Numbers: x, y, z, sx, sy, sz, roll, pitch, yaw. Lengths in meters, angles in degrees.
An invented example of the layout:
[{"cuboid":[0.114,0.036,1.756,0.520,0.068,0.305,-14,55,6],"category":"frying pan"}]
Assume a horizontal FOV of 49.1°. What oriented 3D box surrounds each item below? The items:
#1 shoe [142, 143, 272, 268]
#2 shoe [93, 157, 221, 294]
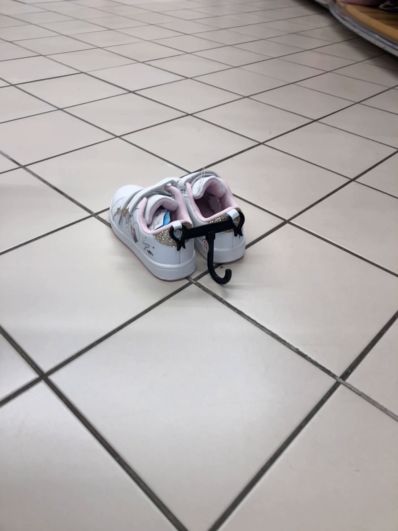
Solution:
[{"cuboid":[0.002,-0.091,0.594,0.080,0.070,0.201,-17,43,-25],"category":"shoe"},{"cuboid":[-0.061,-0.062,0.561,0.080,0.070,0.201,-17,43,-25],"category":"shoe"}]
